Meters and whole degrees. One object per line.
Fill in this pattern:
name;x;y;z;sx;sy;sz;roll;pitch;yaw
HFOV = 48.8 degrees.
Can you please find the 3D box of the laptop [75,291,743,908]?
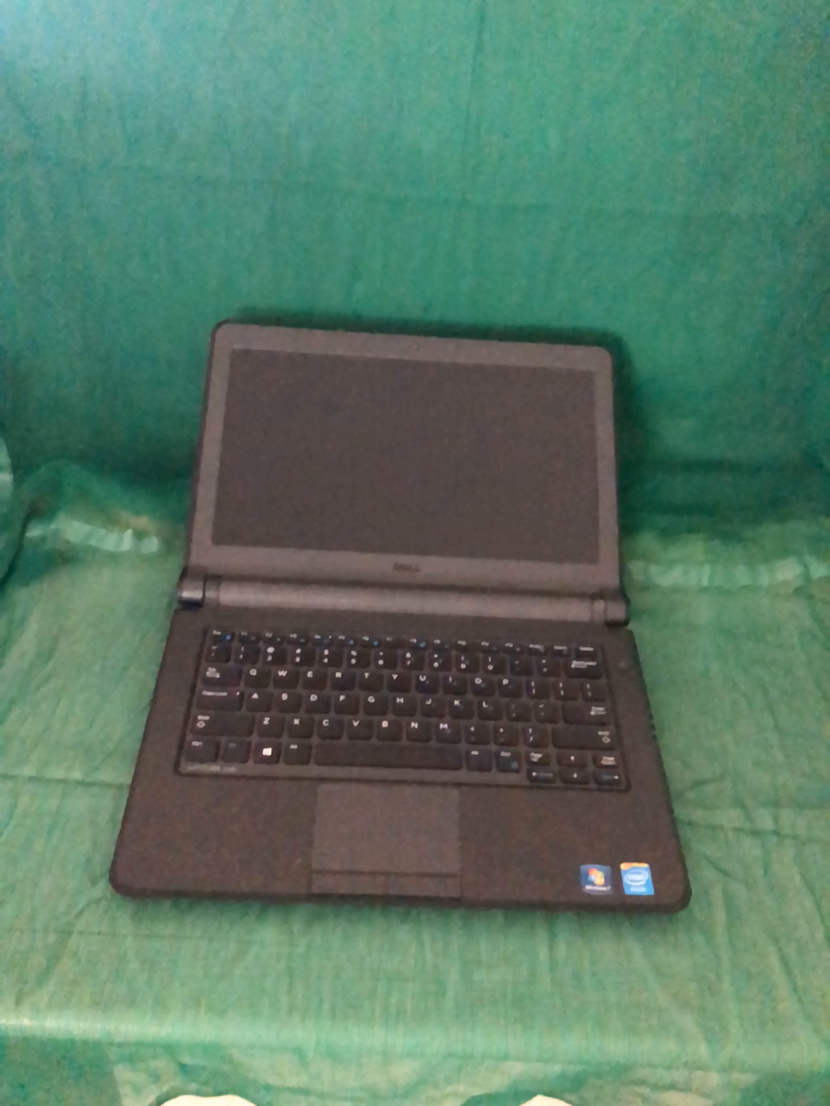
laptop;-0.002;-0.005;0.601;0.311;0.096;0.422;3;46;-3
